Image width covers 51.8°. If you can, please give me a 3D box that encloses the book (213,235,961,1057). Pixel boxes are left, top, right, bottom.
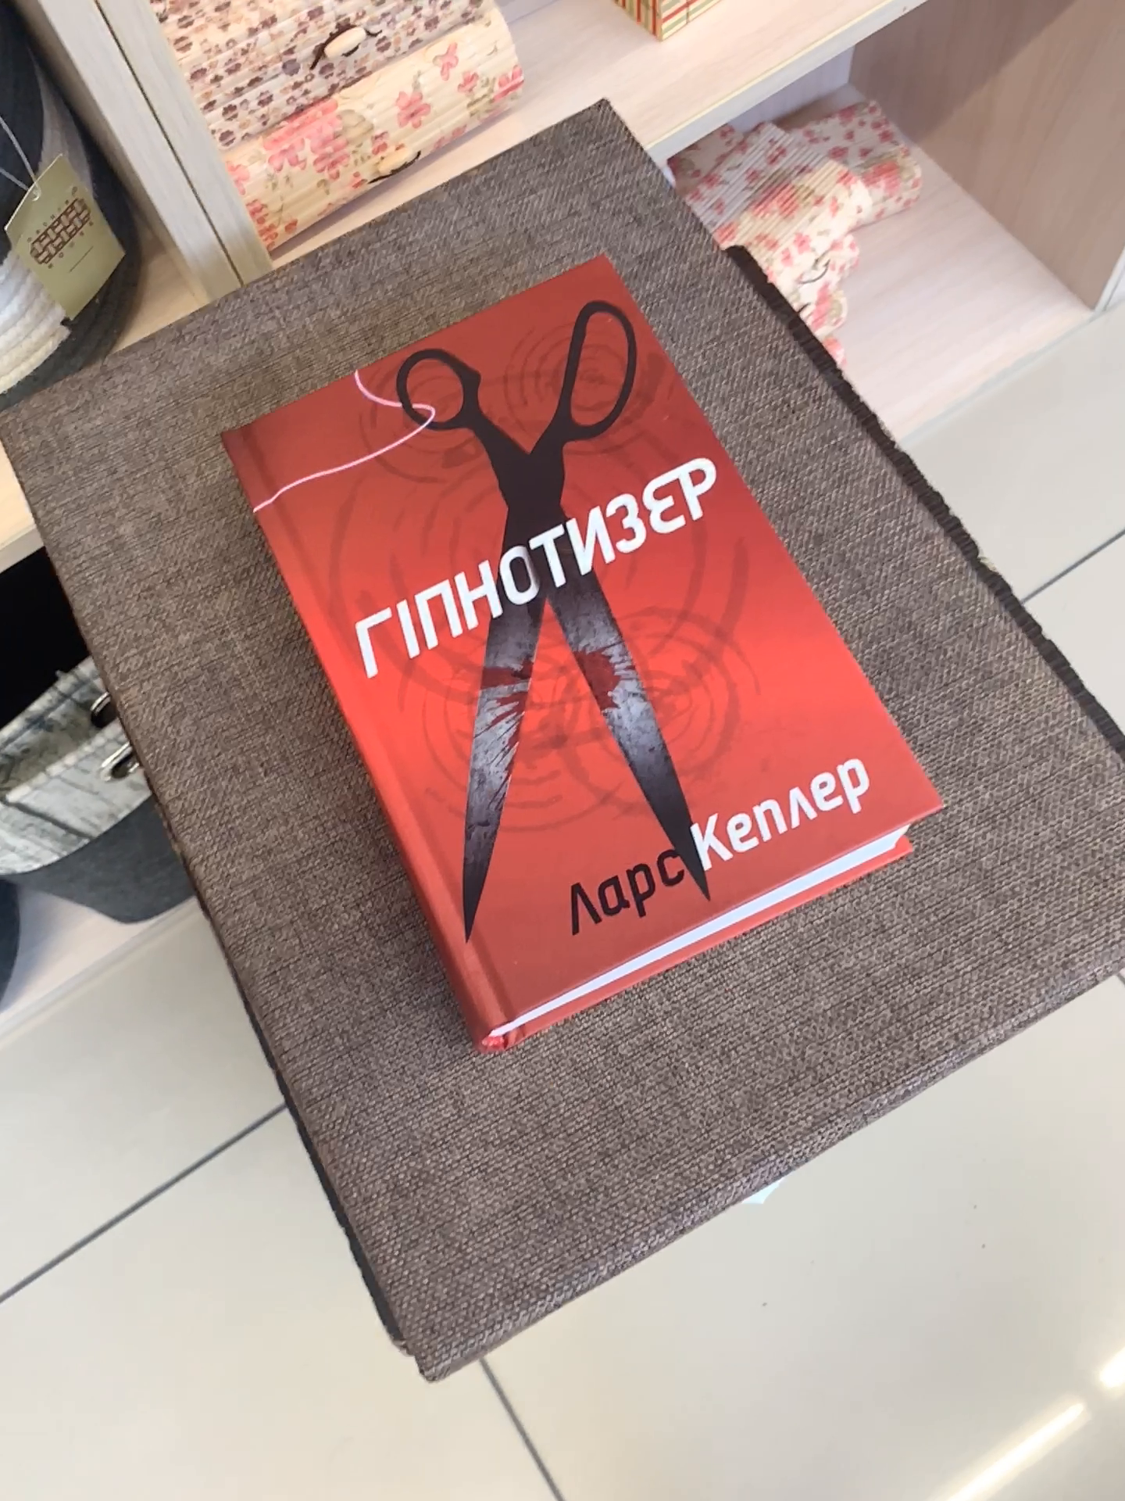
[{"bbox_3d":[0.000,-0.032,0.338,0.131,0.060,0.195,-26,71,0],"label":"book"}]
